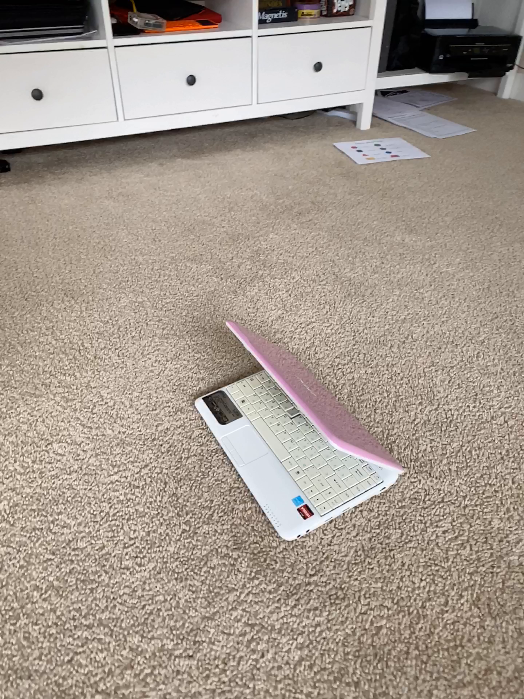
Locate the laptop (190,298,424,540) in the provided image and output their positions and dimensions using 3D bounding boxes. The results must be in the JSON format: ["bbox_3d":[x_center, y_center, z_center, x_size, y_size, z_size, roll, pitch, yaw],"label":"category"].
[{"bbox_3d":[0.047,0.079,0.770,0.193,0.125,0.291,-21,43,-21],"label":"laptop"}]
